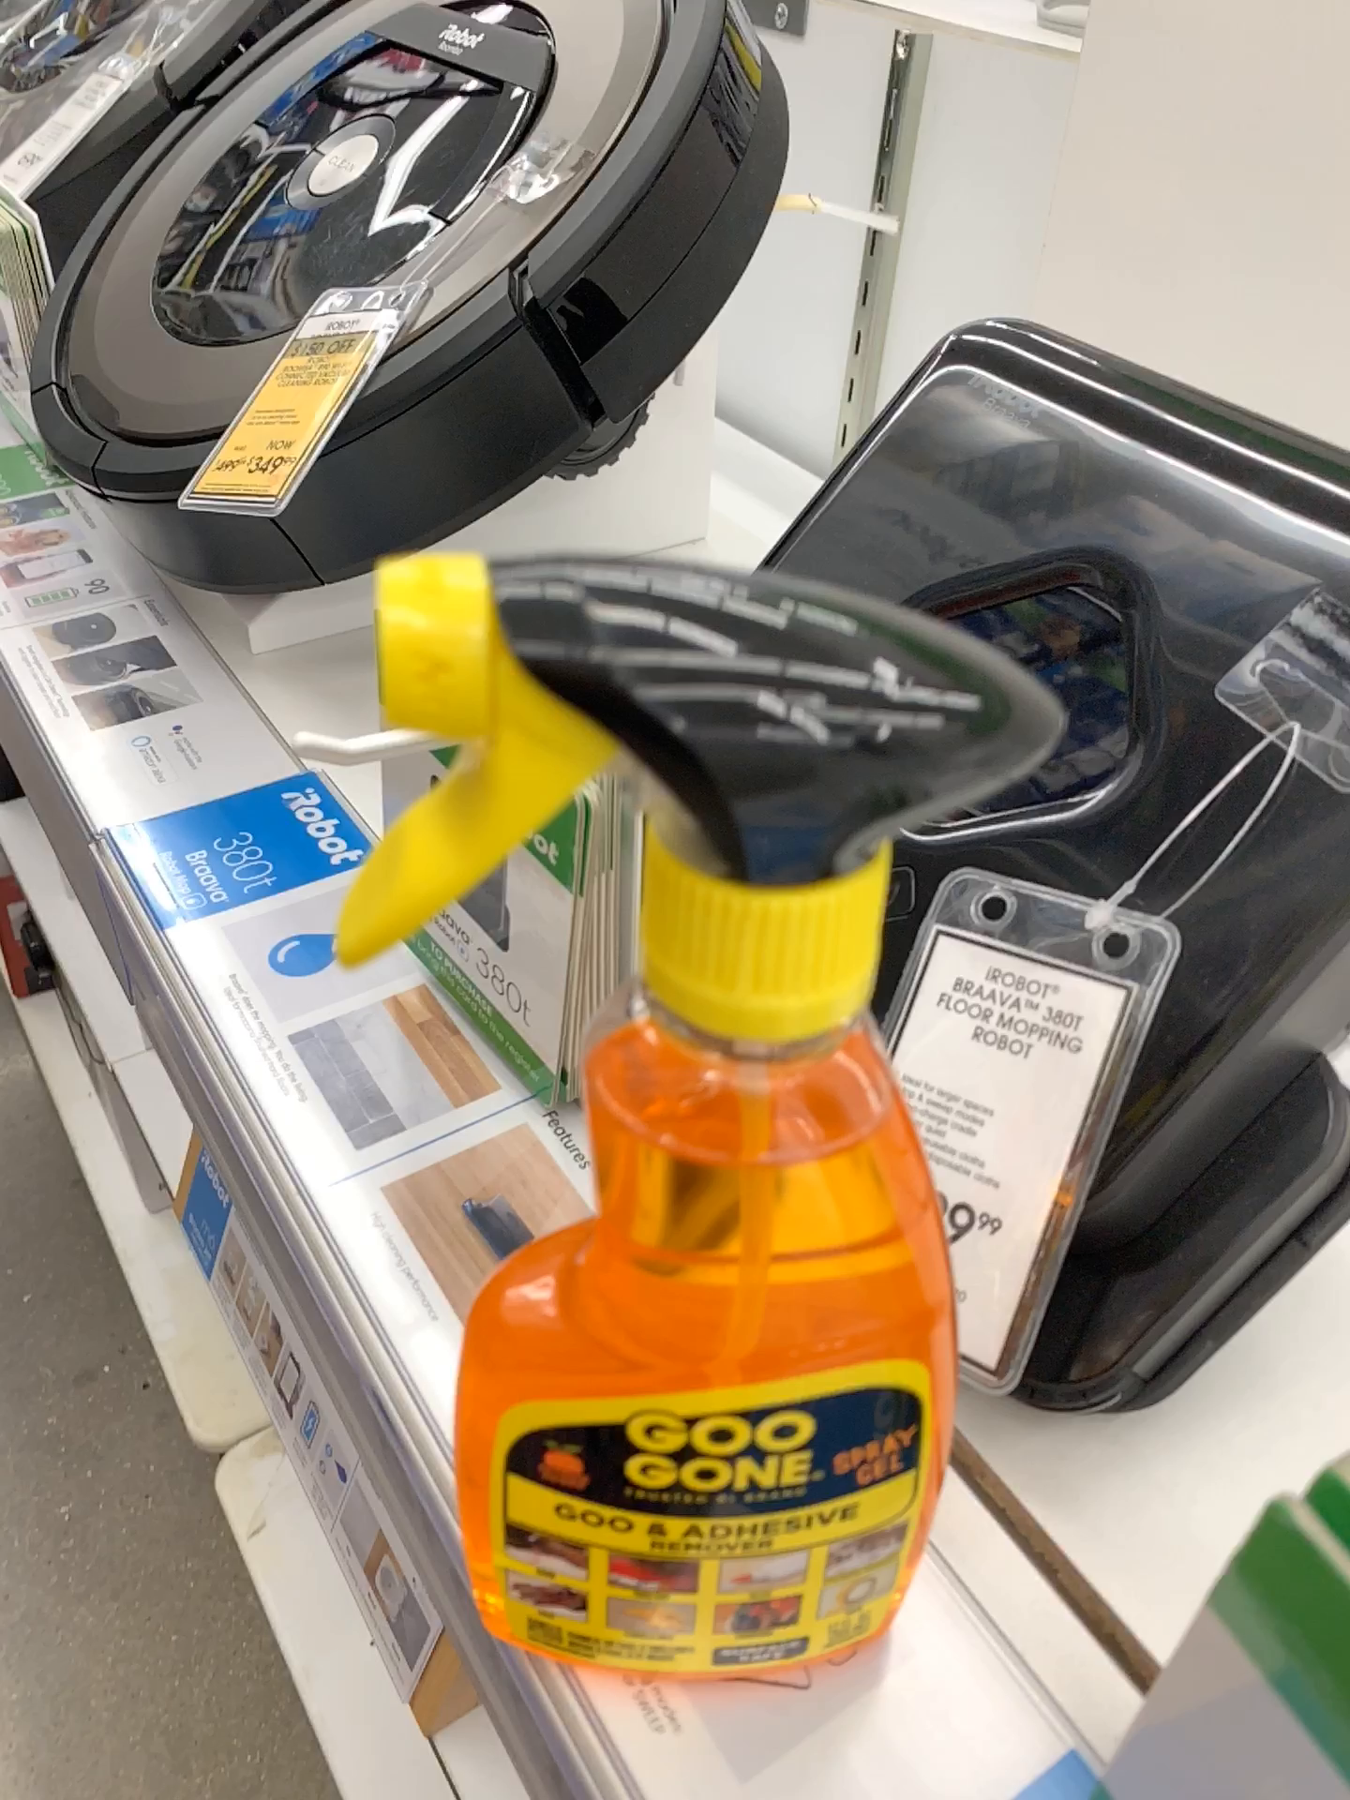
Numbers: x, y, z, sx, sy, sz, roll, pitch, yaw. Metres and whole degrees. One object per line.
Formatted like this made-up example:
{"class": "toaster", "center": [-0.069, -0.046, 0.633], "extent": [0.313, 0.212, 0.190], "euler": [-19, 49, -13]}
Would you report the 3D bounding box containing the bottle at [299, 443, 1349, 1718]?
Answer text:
{"class": "bottle", "center": [0.012, 0.052, 0.212], "extent": [0.100, 0.226, 0.050], "euler": [0, 40, -4]}
